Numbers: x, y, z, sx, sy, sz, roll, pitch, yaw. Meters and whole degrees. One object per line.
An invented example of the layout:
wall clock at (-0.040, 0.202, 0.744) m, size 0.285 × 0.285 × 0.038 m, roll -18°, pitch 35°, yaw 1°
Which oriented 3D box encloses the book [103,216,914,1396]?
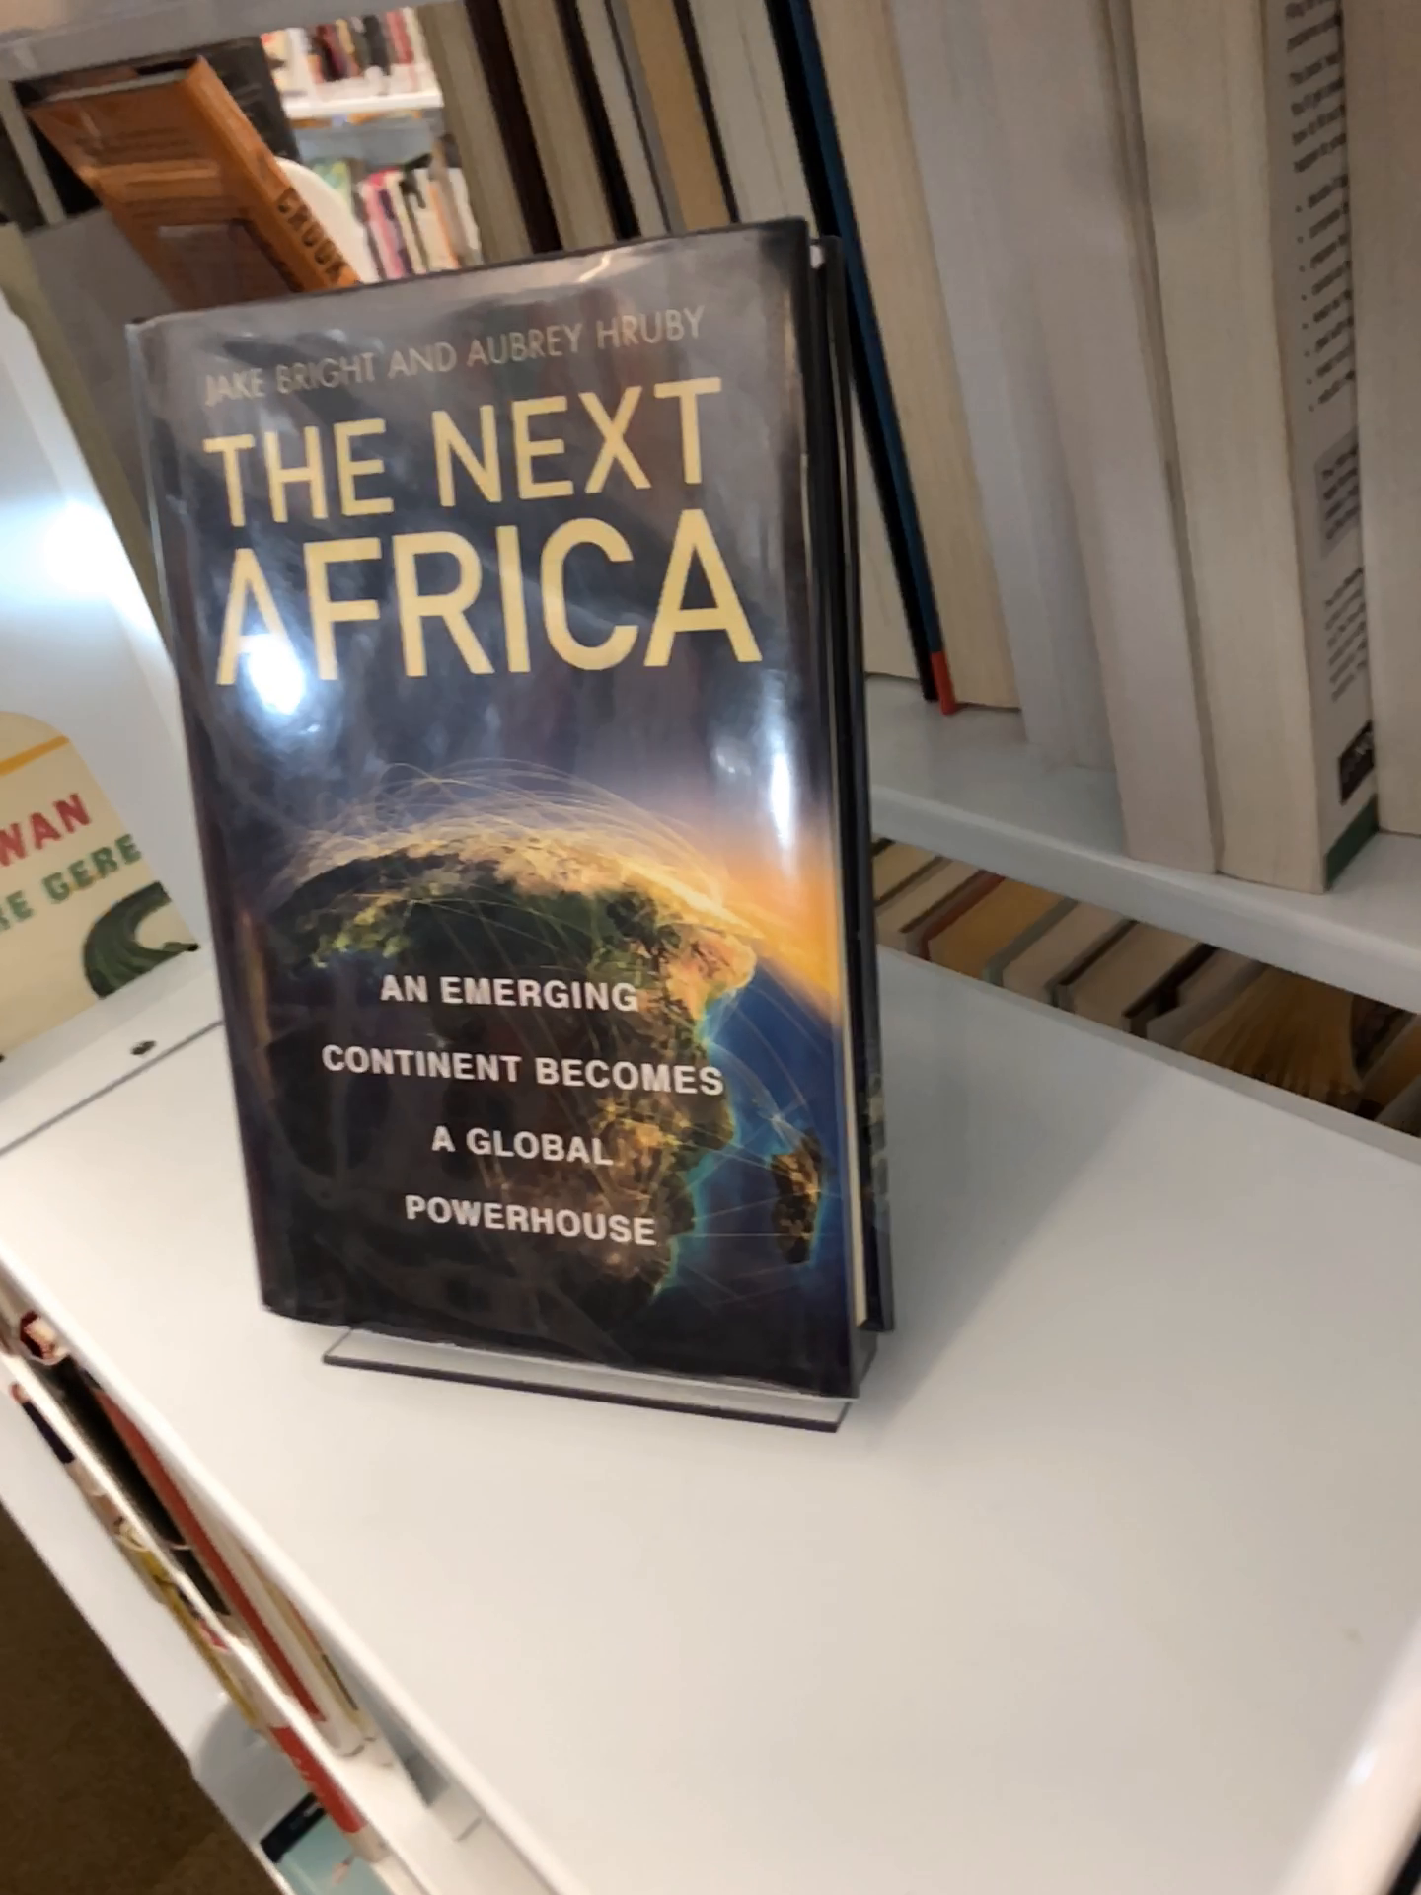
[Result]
book at (-0.040, -0.022, 0.324) m, size 0.153 × 0.211 × 0.030 m, roll 2°, pitch 13°, yaw 23°
